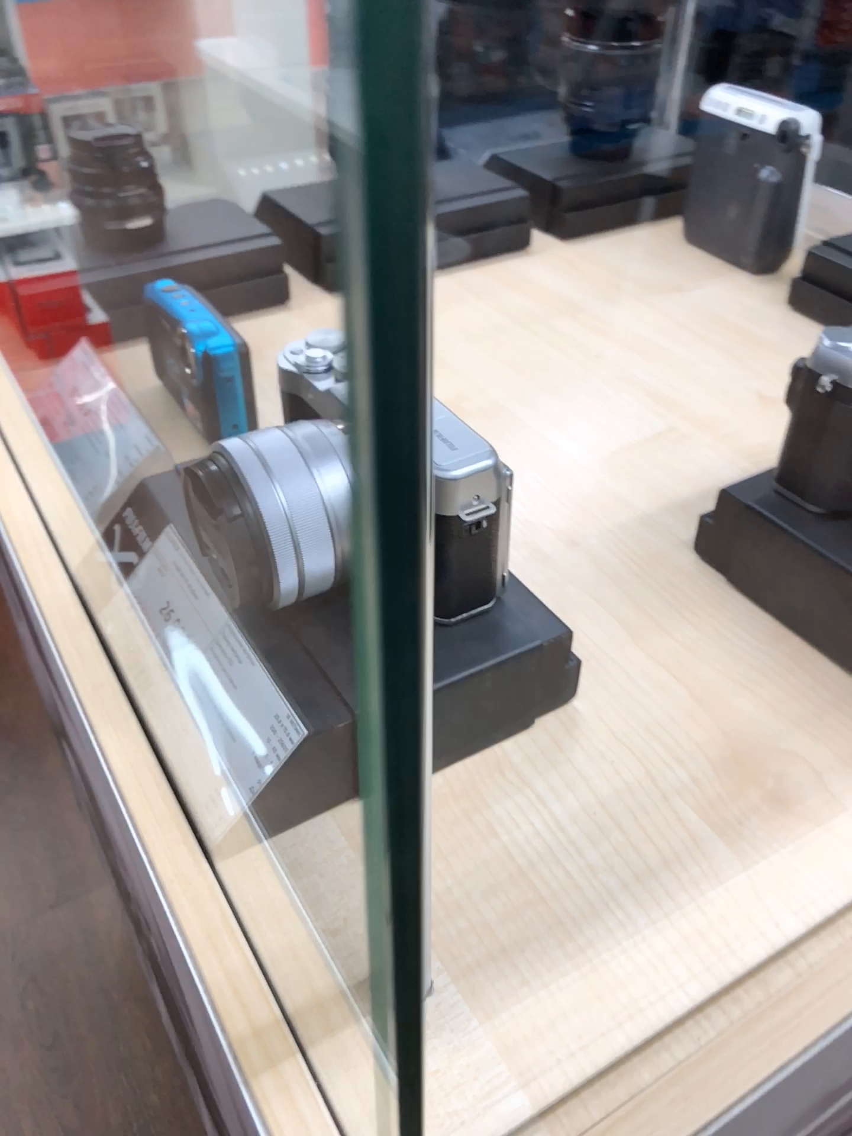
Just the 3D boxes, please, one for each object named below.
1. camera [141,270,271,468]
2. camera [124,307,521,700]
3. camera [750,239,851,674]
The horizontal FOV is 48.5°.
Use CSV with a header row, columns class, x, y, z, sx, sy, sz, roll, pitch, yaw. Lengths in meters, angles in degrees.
class,x,y,z,sx,sy,sz,roll,pitch,yaw
camera,-0.119,-0.109,0.510,0.025,0.064,0.106,-20,43,-24
camera,-0.040,-0.031,0.346,0.093,0.070,0.120,-20,43,-24
camera,0.254,-0.059,0.383,0.187,0.074,0.130,-21,44,-25
